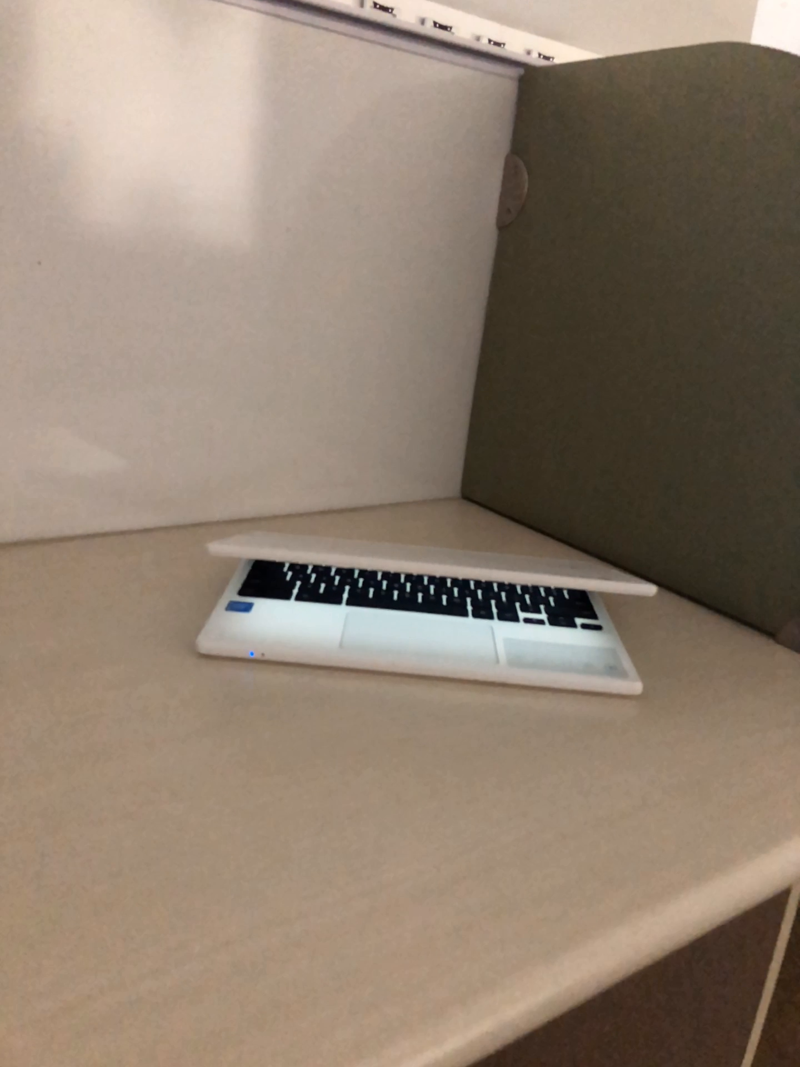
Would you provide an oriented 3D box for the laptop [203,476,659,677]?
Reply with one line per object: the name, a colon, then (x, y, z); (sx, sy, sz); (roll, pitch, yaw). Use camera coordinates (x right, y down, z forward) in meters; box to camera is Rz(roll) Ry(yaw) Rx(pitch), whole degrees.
laptop: (0.020, 0.022, 0.638); (0.282, 0.055, 0.192); (6, 18, 0)
